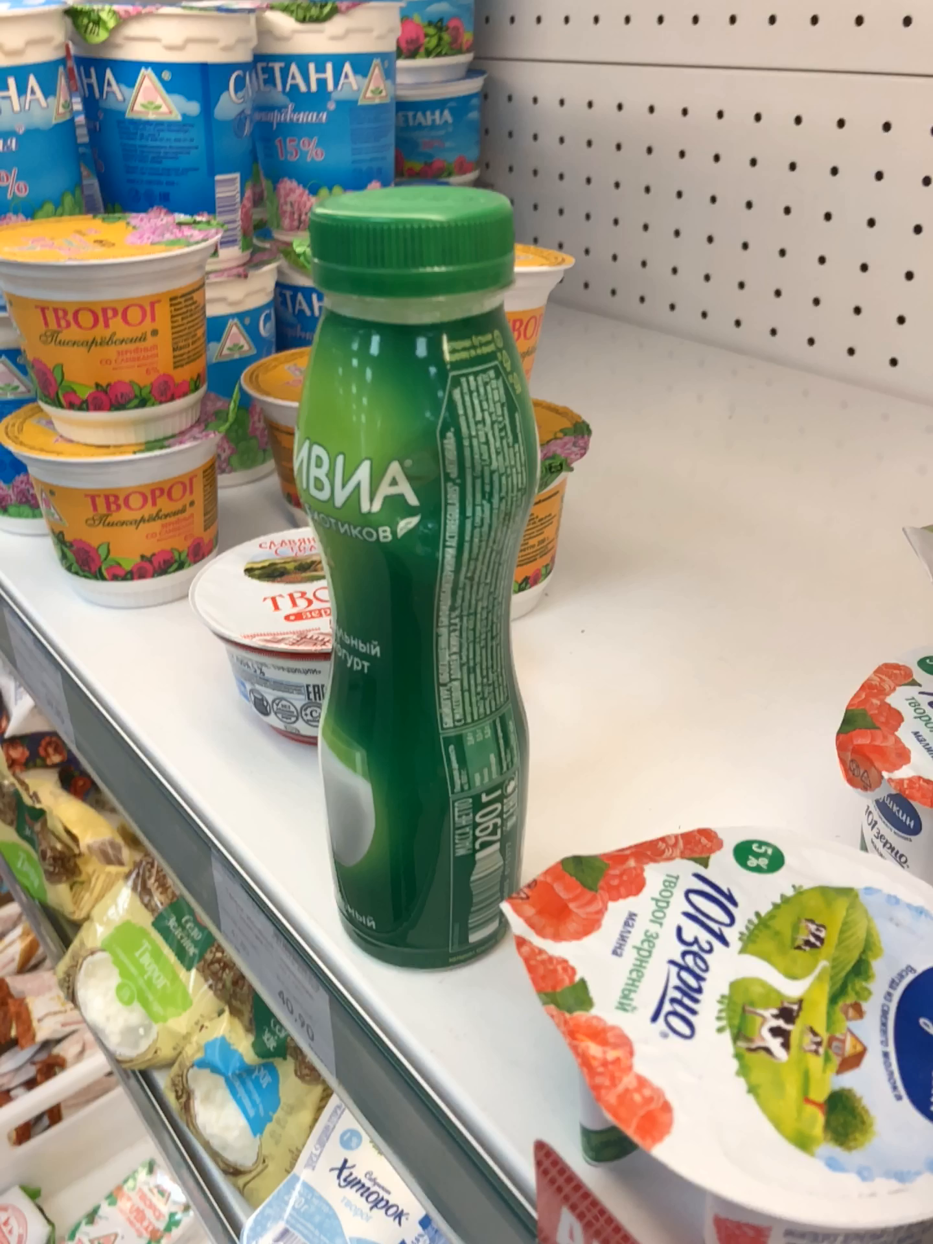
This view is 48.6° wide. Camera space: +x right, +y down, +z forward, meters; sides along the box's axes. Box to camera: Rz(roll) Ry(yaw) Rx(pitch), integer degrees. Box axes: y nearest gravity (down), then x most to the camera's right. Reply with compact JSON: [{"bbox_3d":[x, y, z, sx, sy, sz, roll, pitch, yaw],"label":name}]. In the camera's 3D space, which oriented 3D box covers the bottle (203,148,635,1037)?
[{"bbox_3d":[-0.011,-0.003,0.243,0.060,0.189,0.070,-14,33,-20],"label":"bottle"}]
